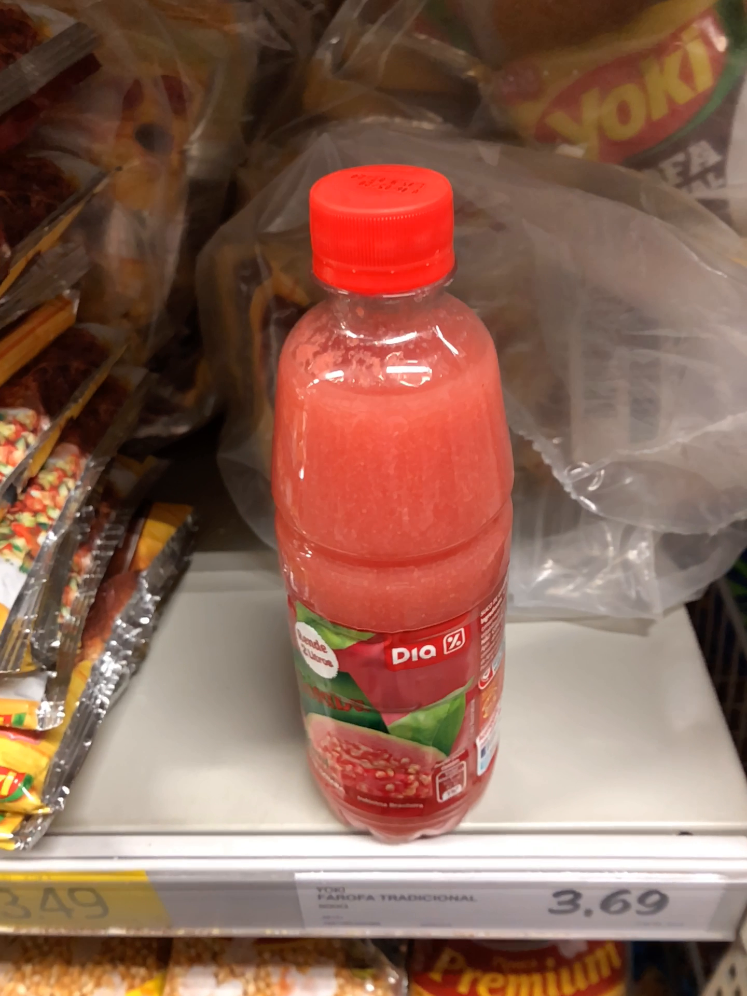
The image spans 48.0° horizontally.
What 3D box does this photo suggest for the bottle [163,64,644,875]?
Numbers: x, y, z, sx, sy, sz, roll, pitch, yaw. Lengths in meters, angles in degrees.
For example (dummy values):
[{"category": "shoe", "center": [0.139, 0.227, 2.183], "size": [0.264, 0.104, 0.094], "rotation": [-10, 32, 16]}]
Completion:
[{"category": "bottle", "center": [0.009, 0.007, 0.242], "size": [0.070, 0.218, 0.070], "rotation": [-1, 40, 1]}]
